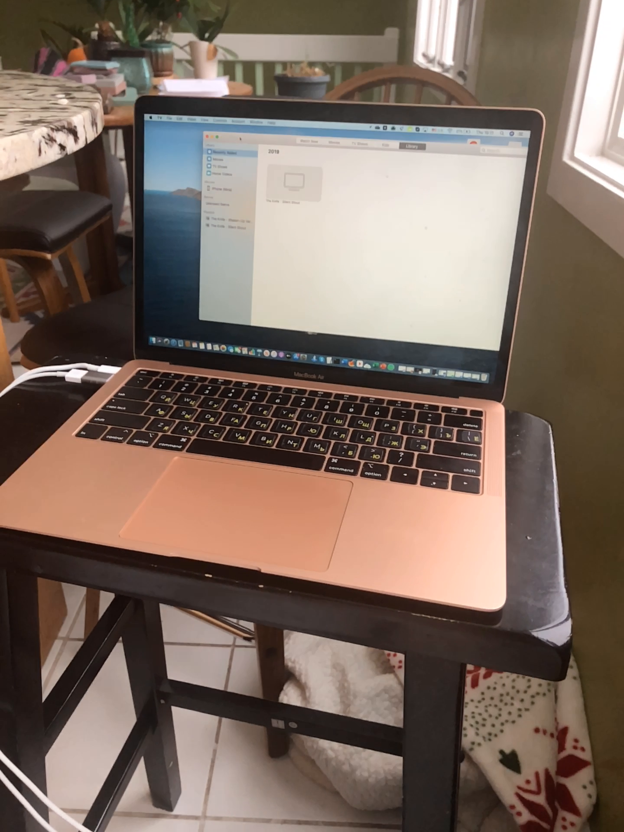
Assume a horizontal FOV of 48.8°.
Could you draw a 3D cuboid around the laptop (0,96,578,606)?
[{"bbox_3d":[-0.019,-0.075,0.434,0.297,0.196,0.266,7,31,11],"label":"laptop"}]
